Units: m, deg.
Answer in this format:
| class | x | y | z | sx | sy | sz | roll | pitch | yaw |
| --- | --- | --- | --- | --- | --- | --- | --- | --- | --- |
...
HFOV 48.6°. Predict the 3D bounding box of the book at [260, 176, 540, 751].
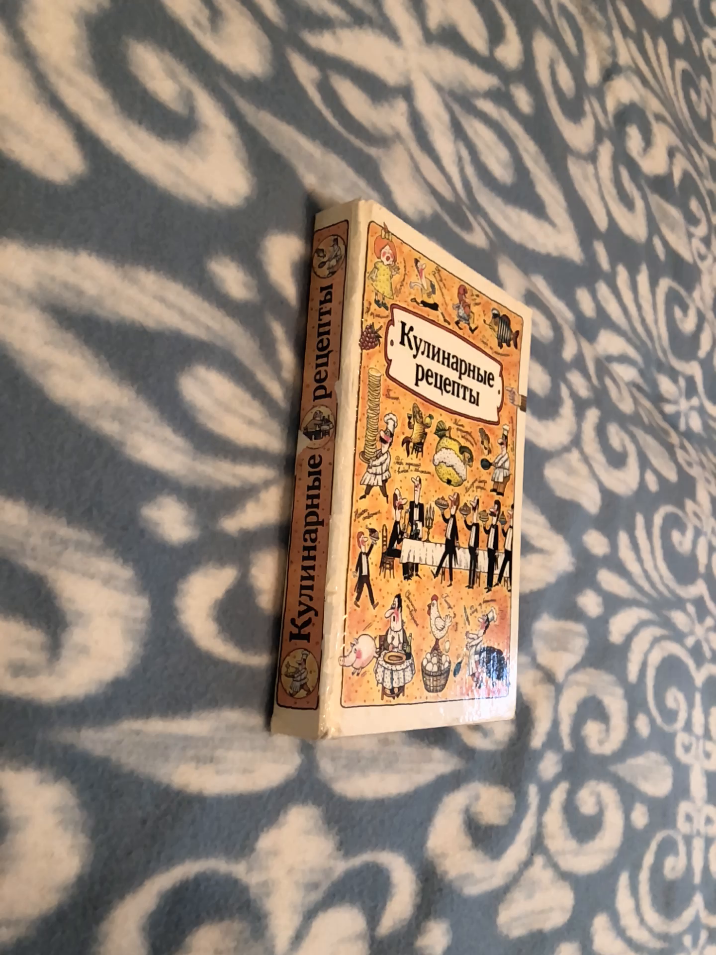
| class | x | y | z | sx | sy | sz | roll | pitch | yaw |
| --- | --- | --- | --- | --- | --- | --- | --- | --- | --- |
| book | 0.030 | 0.001 | 0.359 | 0.142 | 0.032 | 0.220 | 15 | 75 | -47 |
